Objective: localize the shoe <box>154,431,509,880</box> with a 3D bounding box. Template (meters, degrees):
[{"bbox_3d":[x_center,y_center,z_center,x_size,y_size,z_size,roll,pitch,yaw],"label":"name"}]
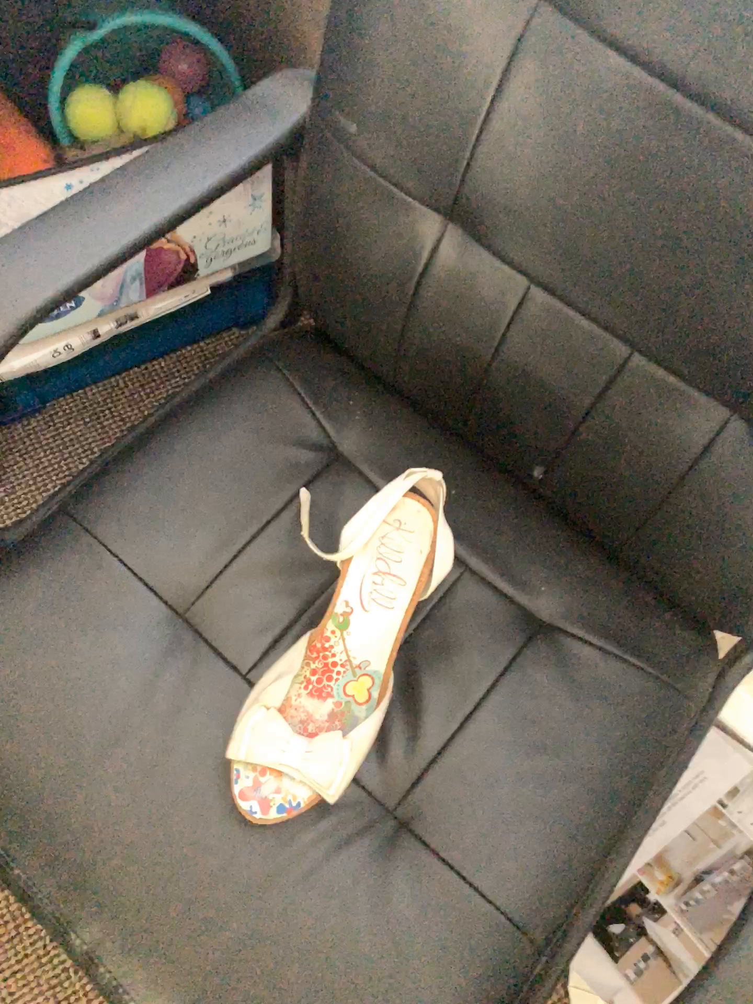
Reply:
[{"bbox_3d":[-0.026,0.110,0.526,0.100,0.189,0.241,28,66,5],"label":"shoe"}]
